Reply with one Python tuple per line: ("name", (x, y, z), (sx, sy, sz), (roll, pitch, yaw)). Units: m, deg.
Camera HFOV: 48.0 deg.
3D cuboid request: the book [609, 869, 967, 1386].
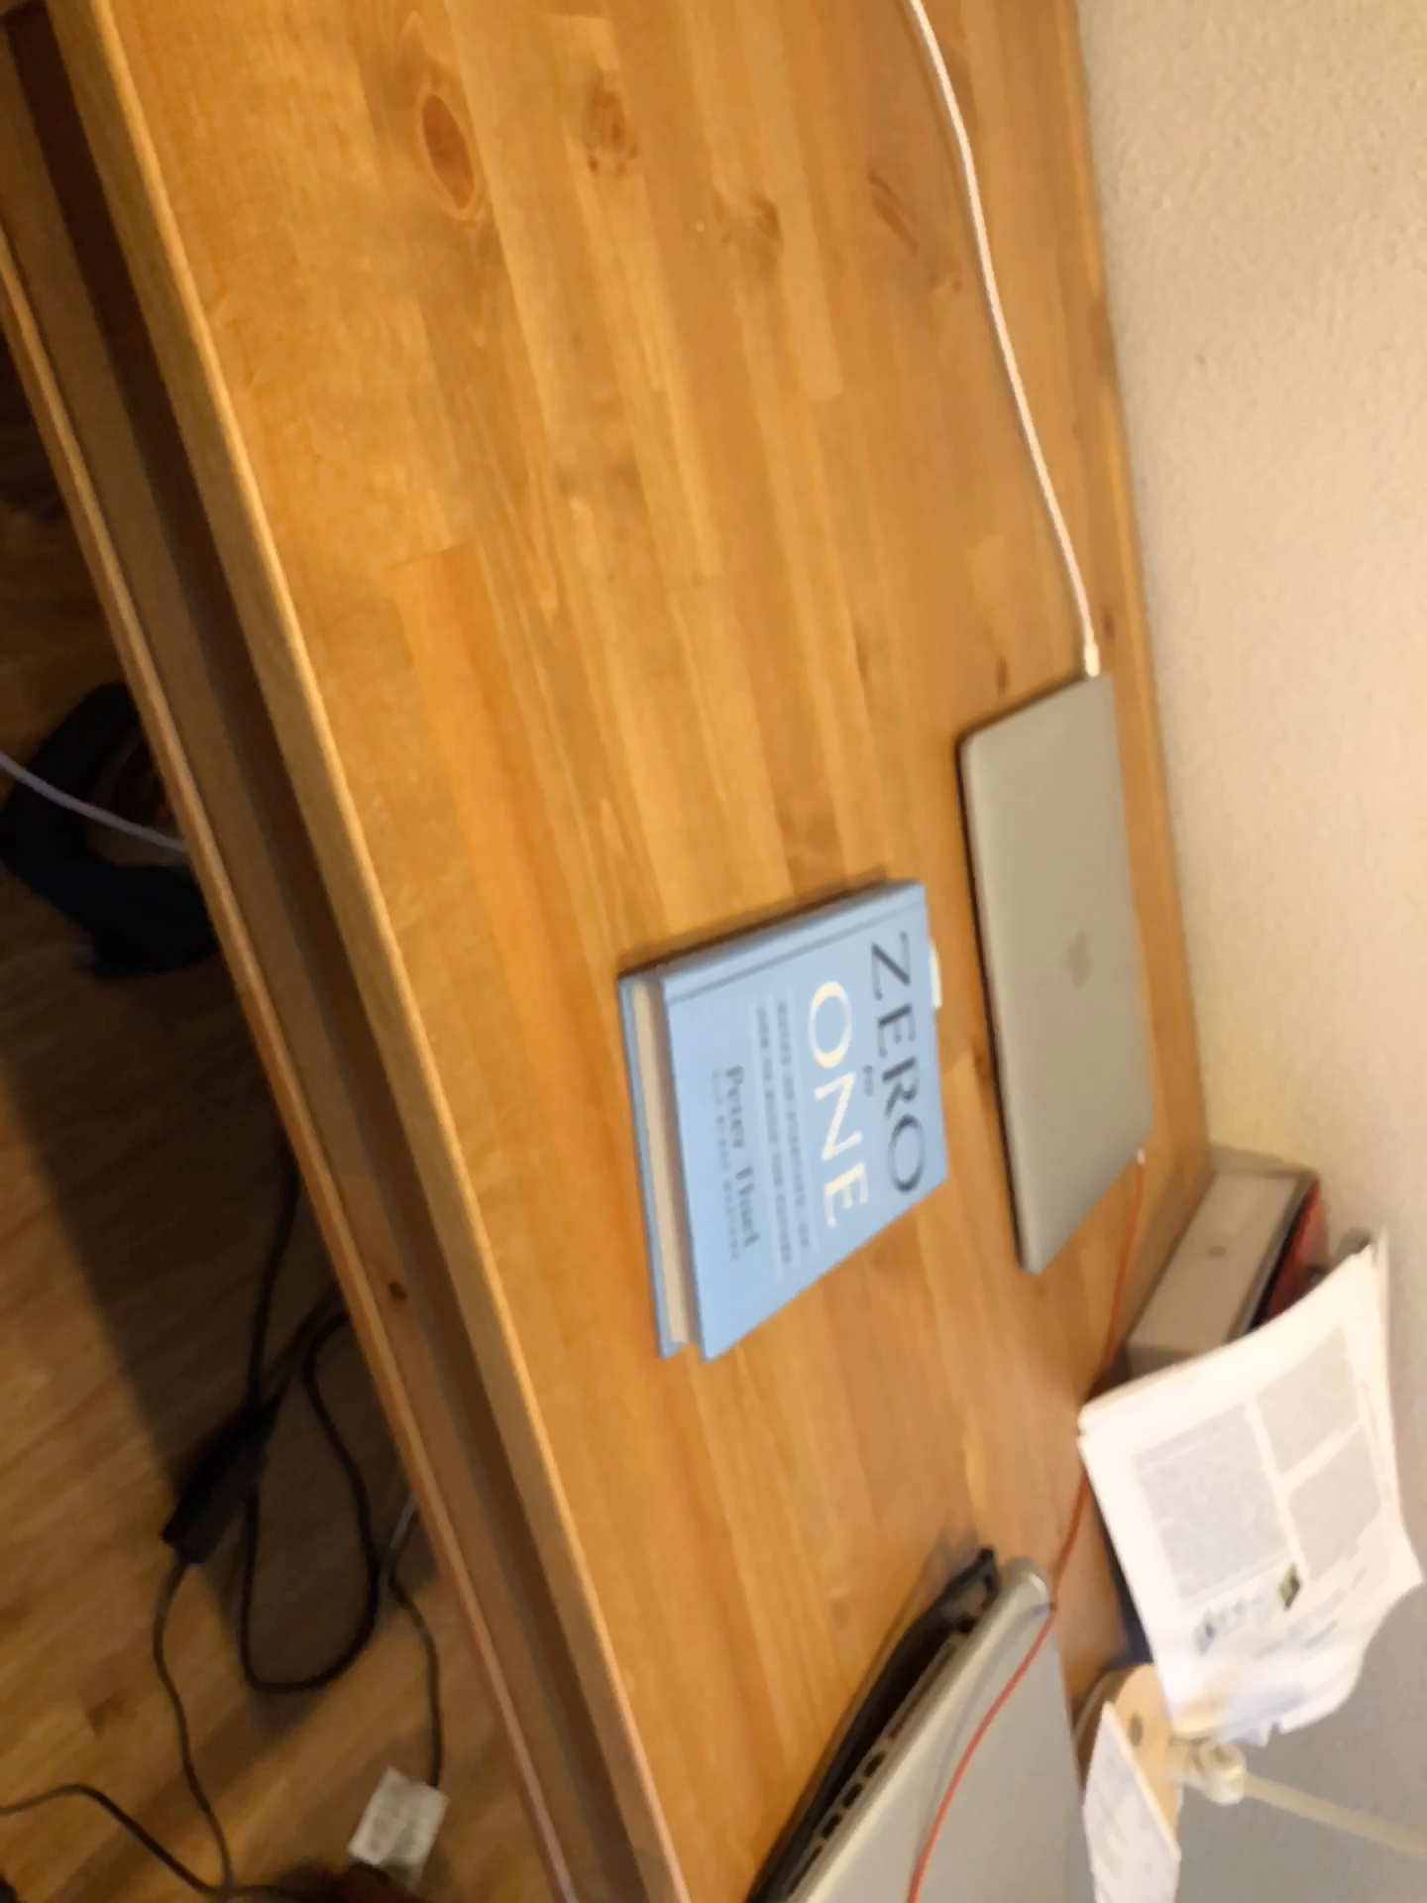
("book", (0.040, 0.057, 0.641), (0.211, 0.030, 0.150), (-20, 107, -56))
